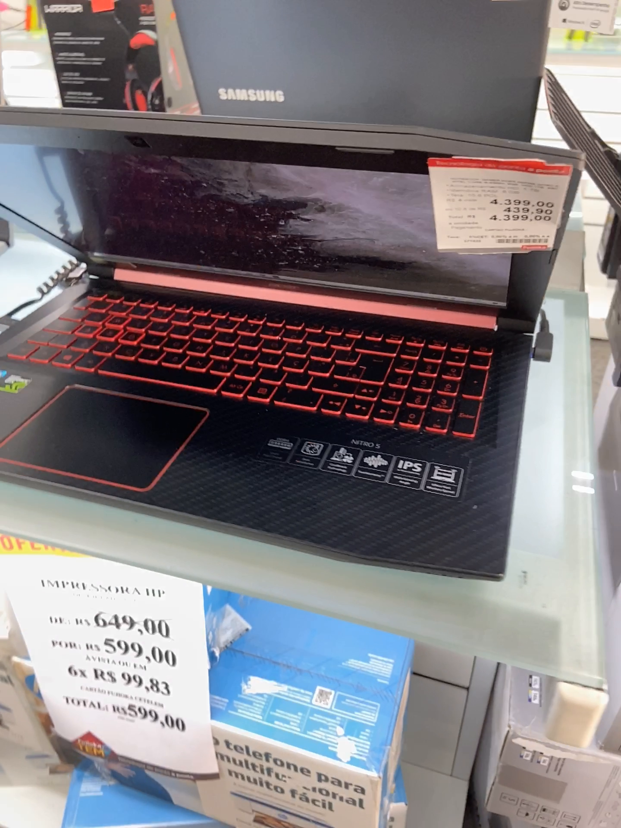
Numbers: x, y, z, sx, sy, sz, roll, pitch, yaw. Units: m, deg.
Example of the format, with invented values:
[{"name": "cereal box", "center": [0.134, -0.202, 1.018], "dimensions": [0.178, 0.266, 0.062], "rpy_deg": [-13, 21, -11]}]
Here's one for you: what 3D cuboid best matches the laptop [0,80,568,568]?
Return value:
[{"name": "laptop", "center": [-0.061, -0.092, 0.391], "dimensions": [0.380, 0.163, 0.235], "rpy_deg": [10, 37, 16]}]
